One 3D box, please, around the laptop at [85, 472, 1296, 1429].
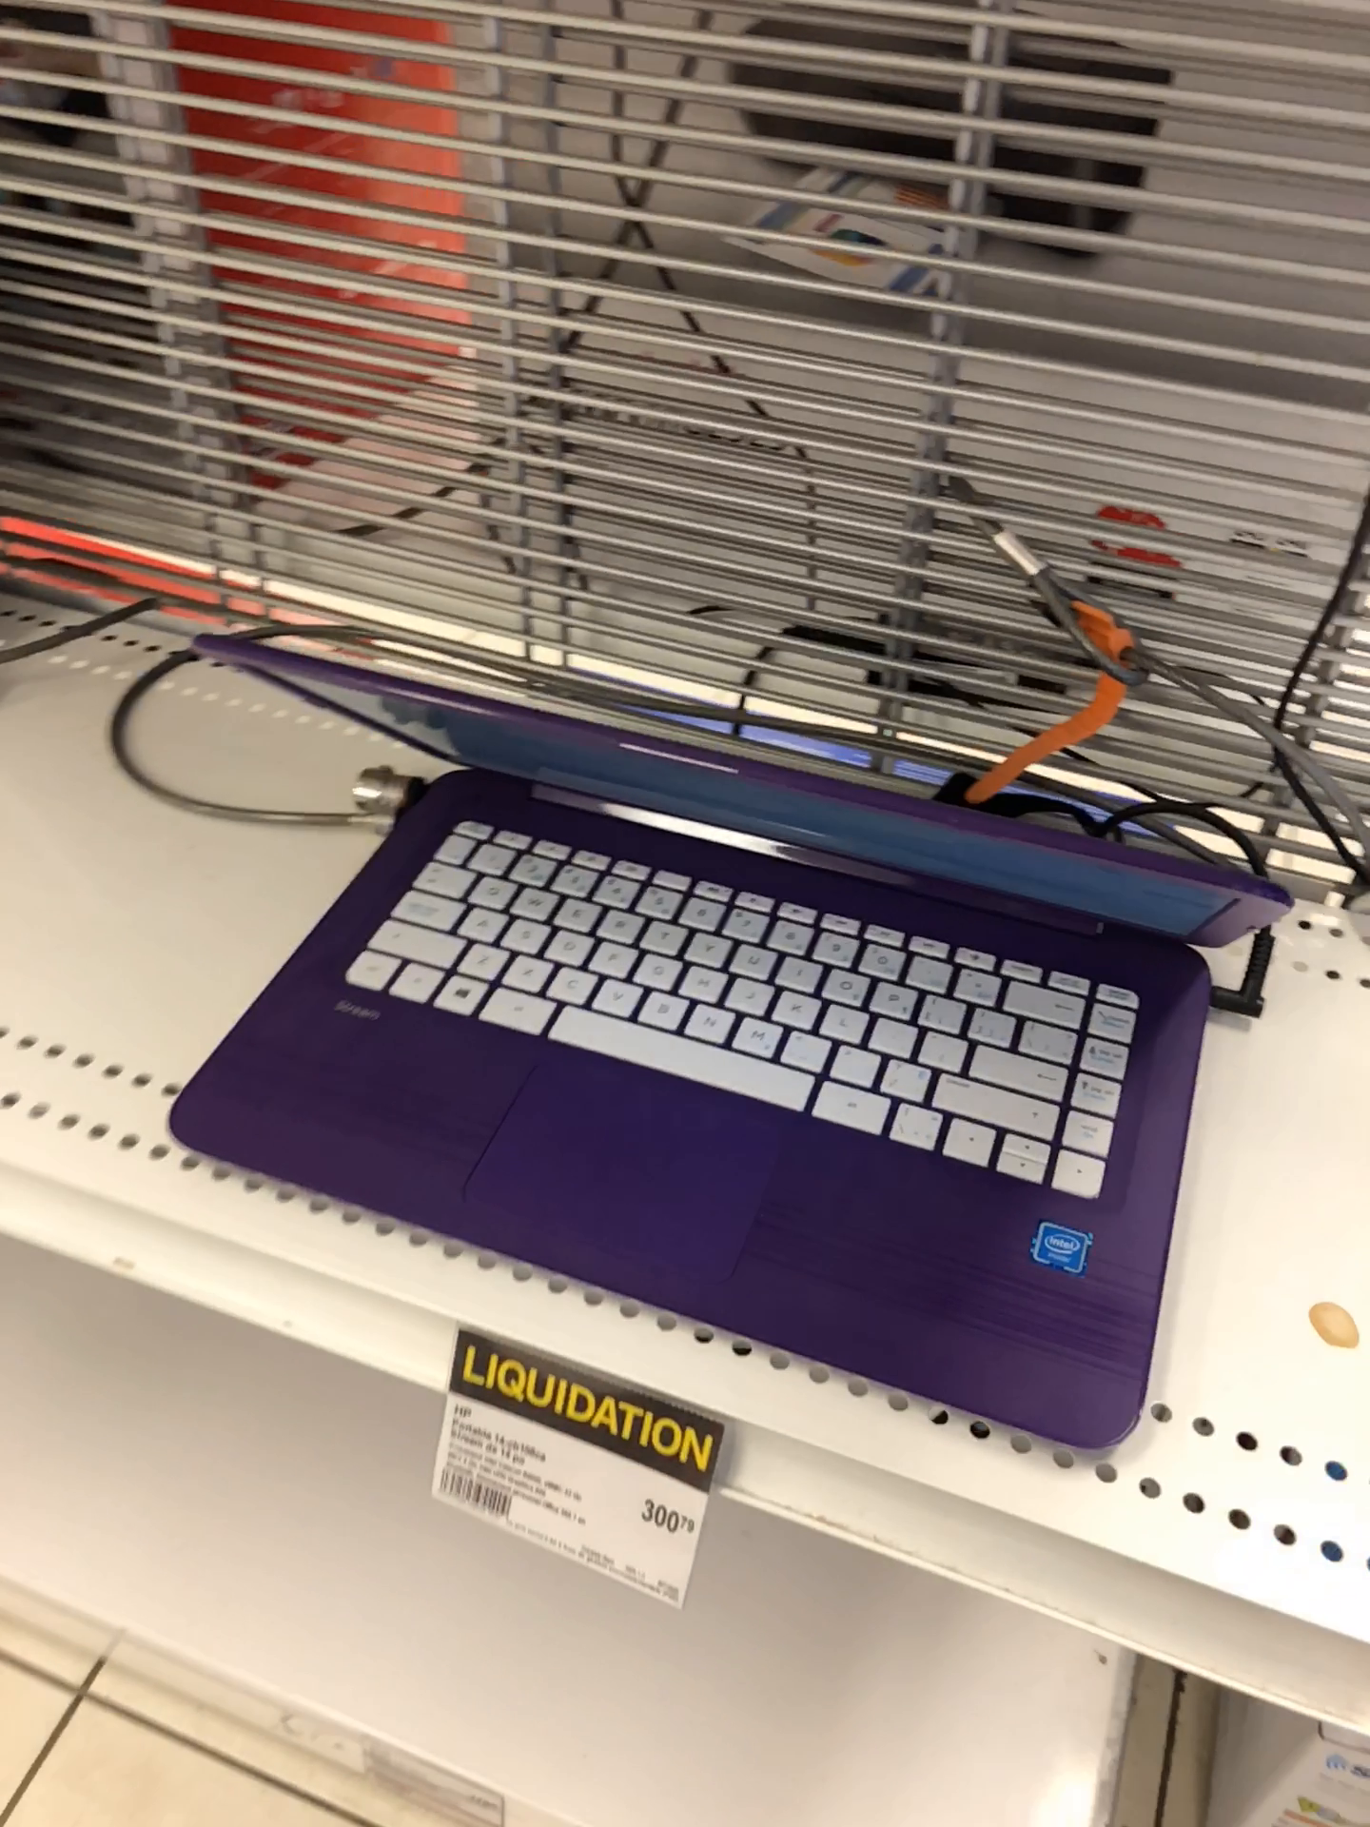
[{"bbox_3d":[0.011,-0.007,0.497,0.305,0.138,0.207,15,47,15],"label":"laptop"}]
